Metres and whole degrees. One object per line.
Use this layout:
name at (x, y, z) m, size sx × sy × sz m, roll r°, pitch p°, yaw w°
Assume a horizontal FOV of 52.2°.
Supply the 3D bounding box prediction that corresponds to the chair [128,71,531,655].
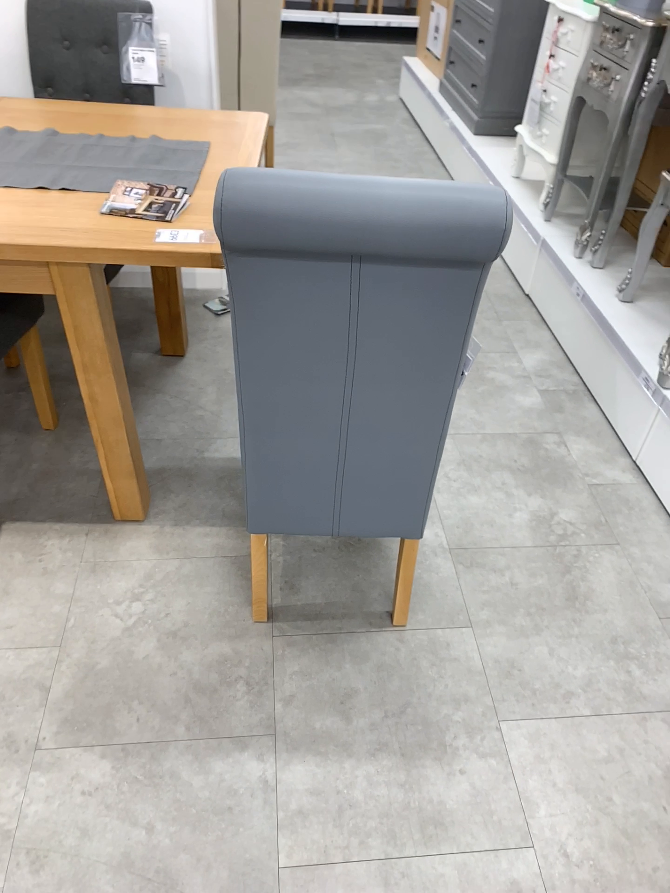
chair at (-0.037, -0.141, 1.343) m, size 0.472 × 0.906 × 0.660 m, roll 2°, pitch 40°, yaw -3°
